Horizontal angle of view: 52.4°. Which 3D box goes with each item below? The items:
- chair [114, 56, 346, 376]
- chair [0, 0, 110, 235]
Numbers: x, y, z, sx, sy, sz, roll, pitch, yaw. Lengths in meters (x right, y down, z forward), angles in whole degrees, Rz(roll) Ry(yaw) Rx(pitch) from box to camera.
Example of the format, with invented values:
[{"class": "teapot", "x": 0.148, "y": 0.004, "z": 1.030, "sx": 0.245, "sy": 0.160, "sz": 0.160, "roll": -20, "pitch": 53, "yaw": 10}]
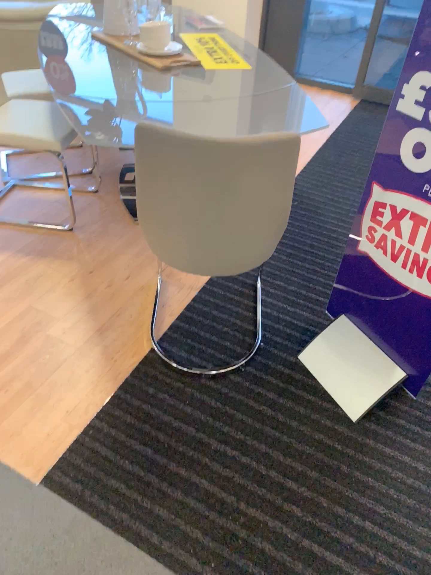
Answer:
[{"class": "chair", "x": 0.003, "y": -0.212, "z": 1.454, "sx": 0.507, "sy": 0.846, "sz": 0.595, "roll": 1, "pitch": 41, "yaw": -3}, {"class": "chair", "x": -0.911, "y": -0.846, "z": 2.075, "sx": 0.589, "sy": 1.024, "sz": 0.512, "roll": 6, "pitch": 41, "yaw": 2}]
